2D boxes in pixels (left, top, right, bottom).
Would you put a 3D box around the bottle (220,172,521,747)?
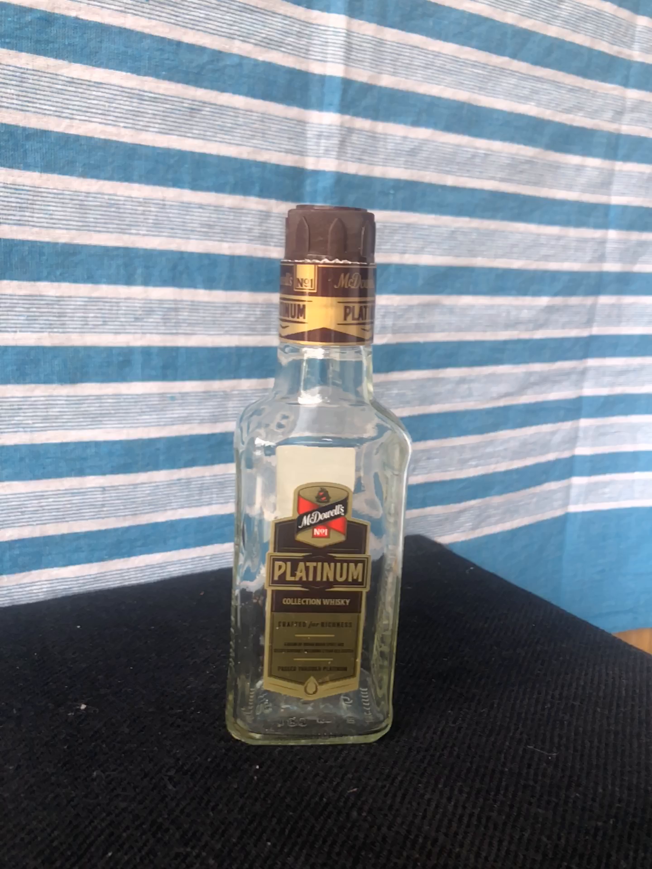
[{"bbox_3d":[0.006,0.010,0.207,0.060,0.150,0.040,4,13,-11],"label":"bottle"}]
